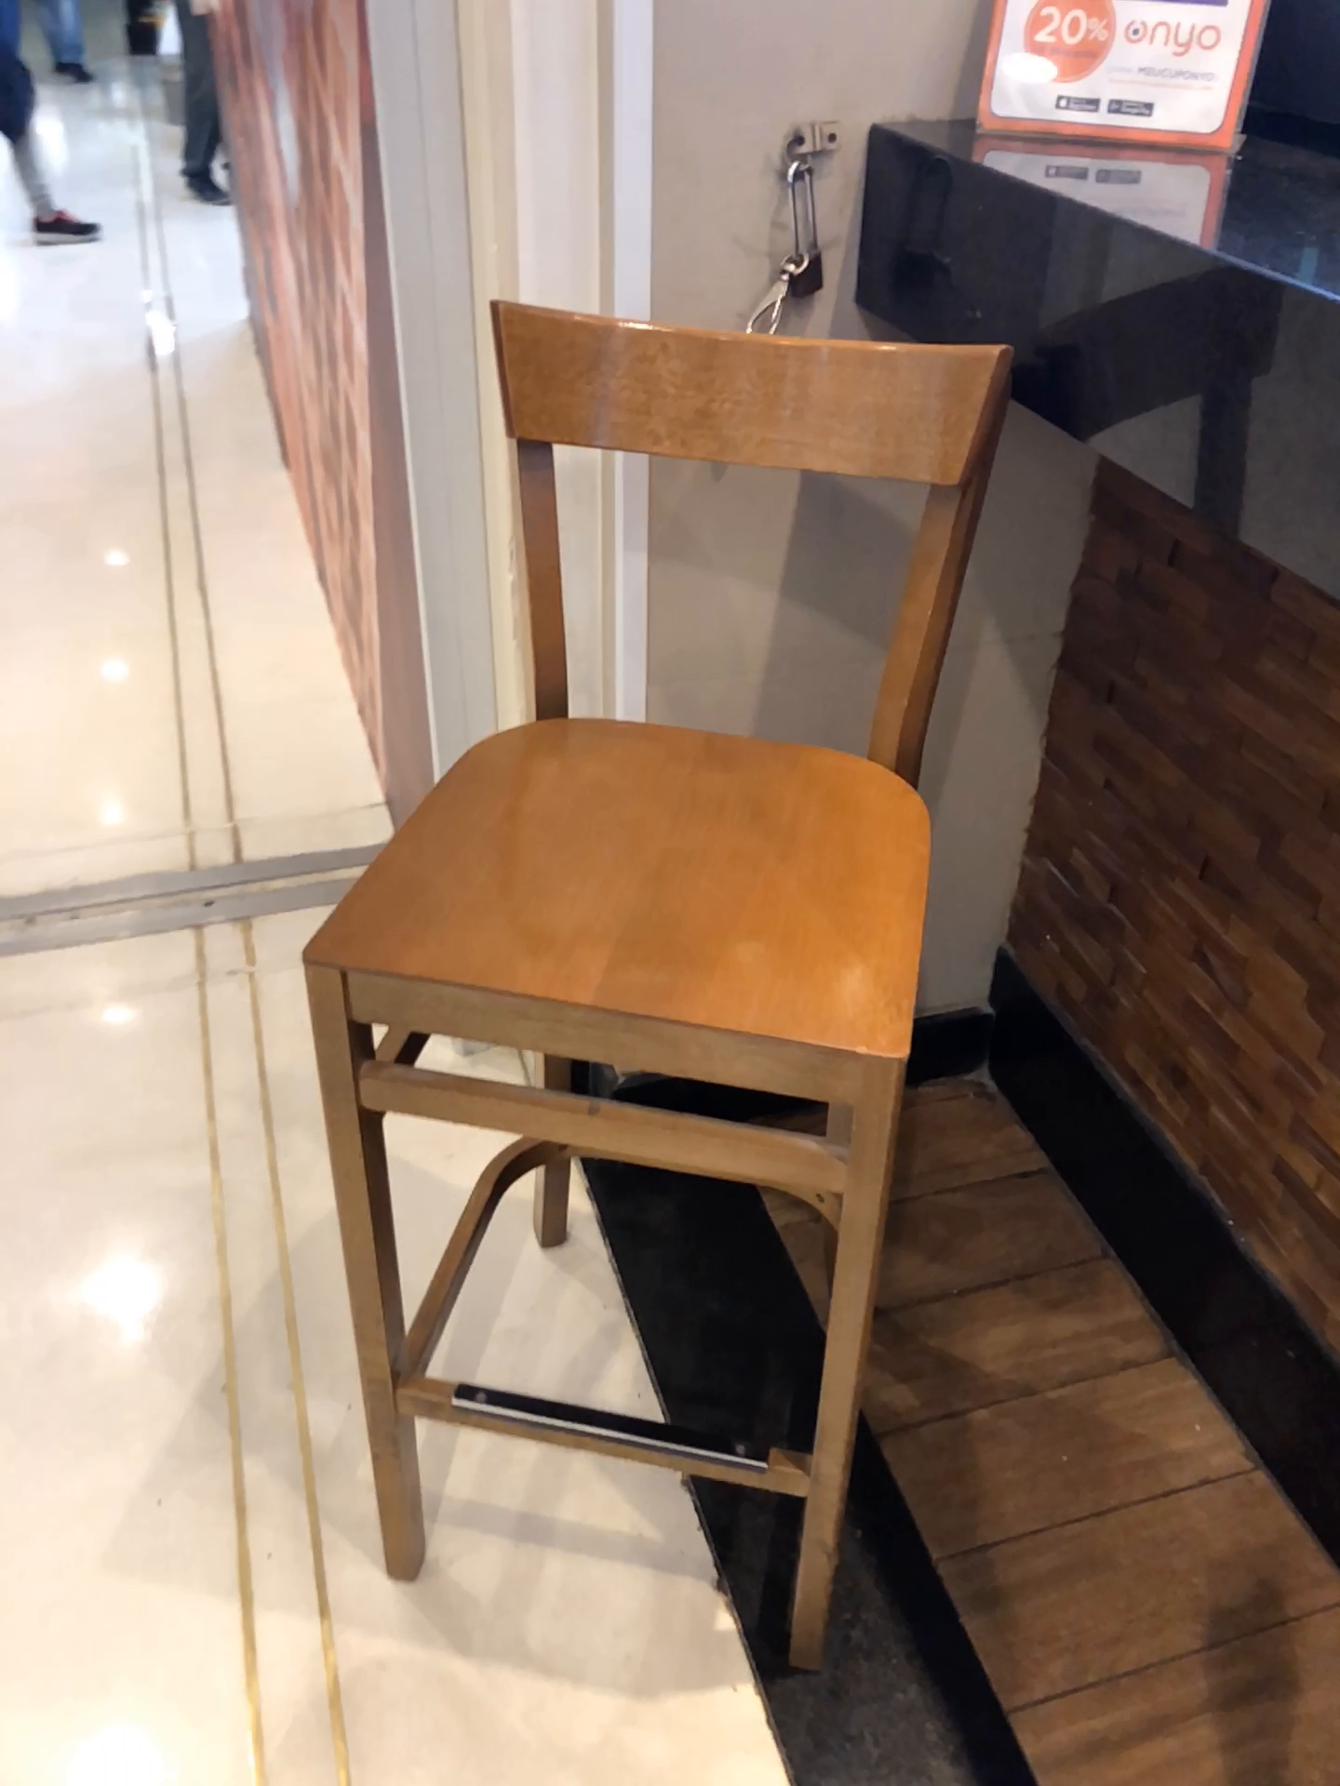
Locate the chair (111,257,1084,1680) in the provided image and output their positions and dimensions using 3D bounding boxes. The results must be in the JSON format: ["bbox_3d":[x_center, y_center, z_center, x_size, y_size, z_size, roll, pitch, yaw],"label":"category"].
[{"bbox_3d":[-0.009,0.080,1.205,0.480,0.992,0.534,7,36,8],"label":"chair"}]
